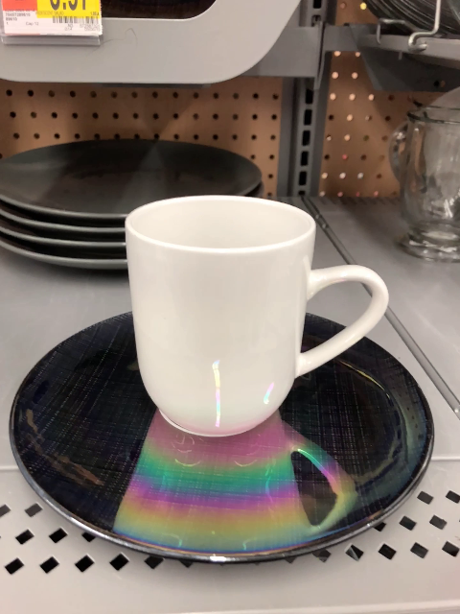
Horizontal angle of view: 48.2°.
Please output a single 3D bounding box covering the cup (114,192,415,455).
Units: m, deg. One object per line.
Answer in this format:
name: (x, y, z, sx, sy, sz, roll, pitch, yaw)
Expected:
cup: (0.010, 0.003, 0.247, 0.112, 0.098, 0.078, -1, 26, -5)
